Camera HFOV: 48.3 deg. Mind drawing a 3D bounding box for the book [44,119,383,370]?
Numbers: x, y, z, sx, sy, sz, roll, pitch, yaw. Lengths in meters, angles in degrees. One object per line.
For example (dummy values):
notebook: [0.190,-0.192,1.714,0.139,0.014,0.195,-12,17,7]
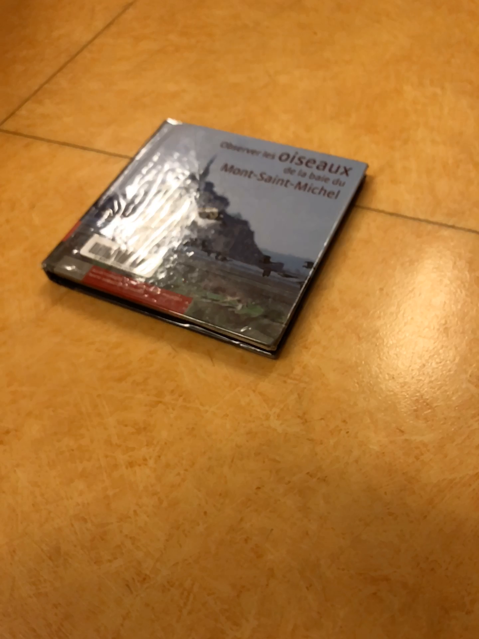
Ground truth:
book: [-0.011,-0.060,0.332,0.153,0.015,0.156,19,57,19]
